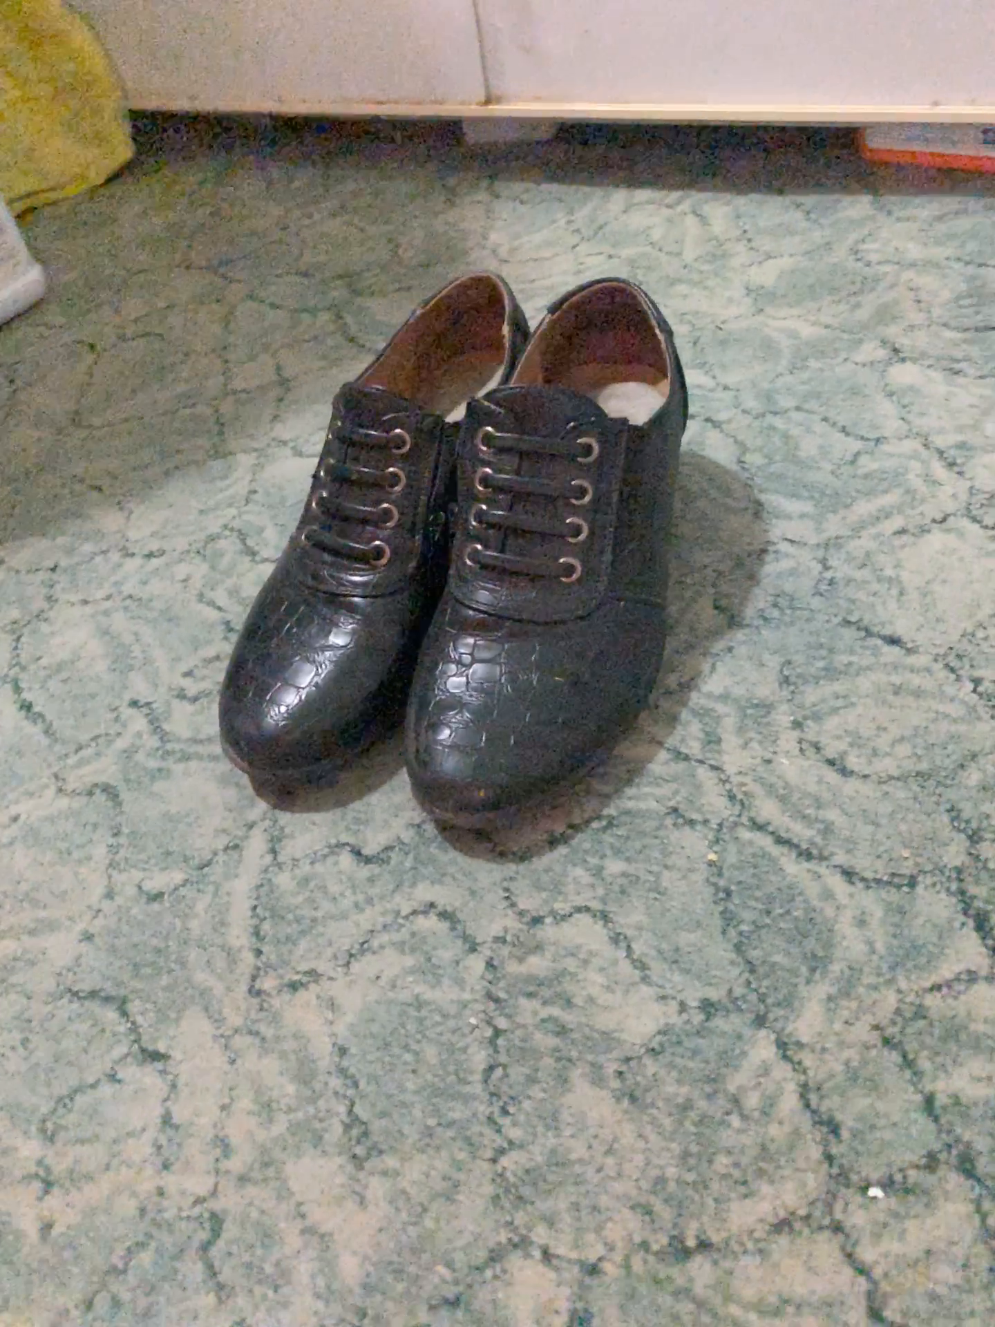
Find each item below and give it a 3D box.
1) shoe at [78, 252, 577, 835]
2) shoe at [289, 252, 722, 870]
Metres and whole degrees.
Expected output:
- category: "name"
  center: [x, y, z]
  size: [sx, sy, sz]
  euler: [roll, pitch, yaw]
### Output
- category: "shoe"
  center: [-0.049, -0.061, 0.433]
  size: [0.090, 0.119, 0.221]
  euler: [11, 51, 20]
- category: "shoe"
  center: [0.022, -0.050, 0.396]
  size: [0.090, 0.119, 0.211]
  euler: [8, 50, 18]
